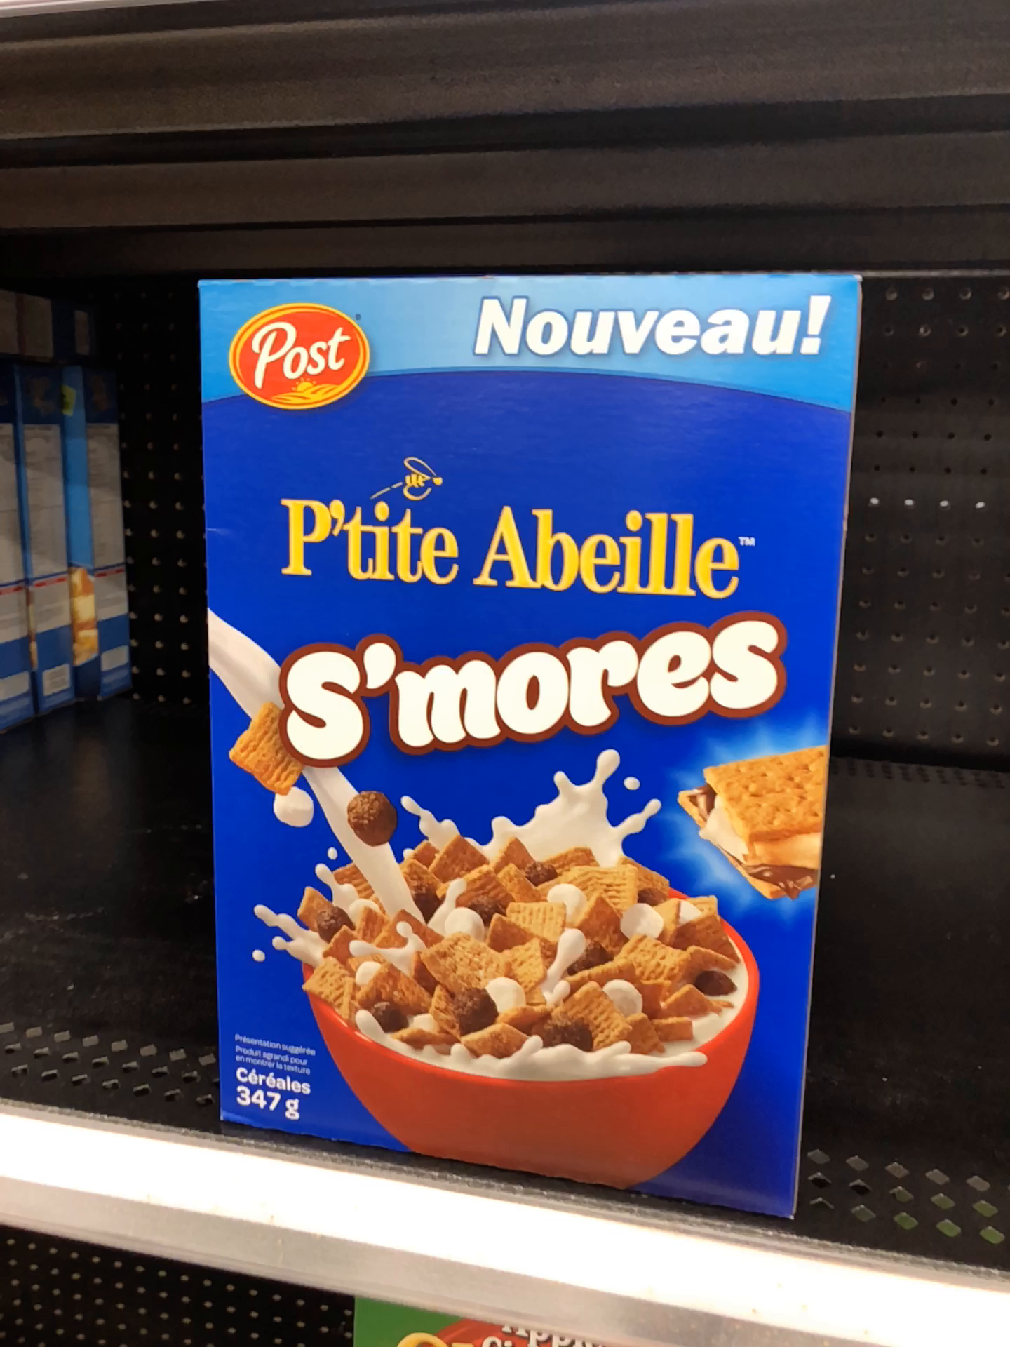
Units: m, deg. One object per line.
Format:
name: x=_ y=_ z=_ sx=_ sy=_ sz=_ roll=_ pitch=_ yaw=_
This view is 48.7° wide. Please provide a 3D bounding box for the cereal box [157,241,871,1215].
cereal box: x=-0.001 y=0.014 z=0.360 sx=0.200 sy=0.279 sz=0.060 roll=3 pitch=11 yaw=11
